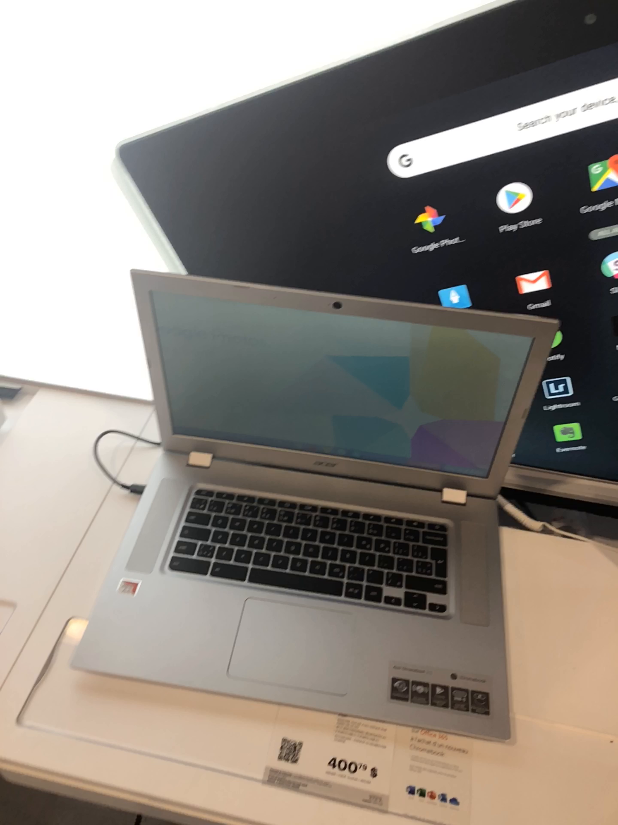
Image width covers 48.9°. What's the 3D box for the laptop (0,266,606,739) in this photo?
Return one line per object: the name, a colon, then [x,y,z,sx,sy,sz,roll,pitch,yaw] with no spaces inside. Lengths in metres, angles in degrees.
laptop: [0.001,0.069,0.590,0.377,0.250,0.265,8,44,5]
